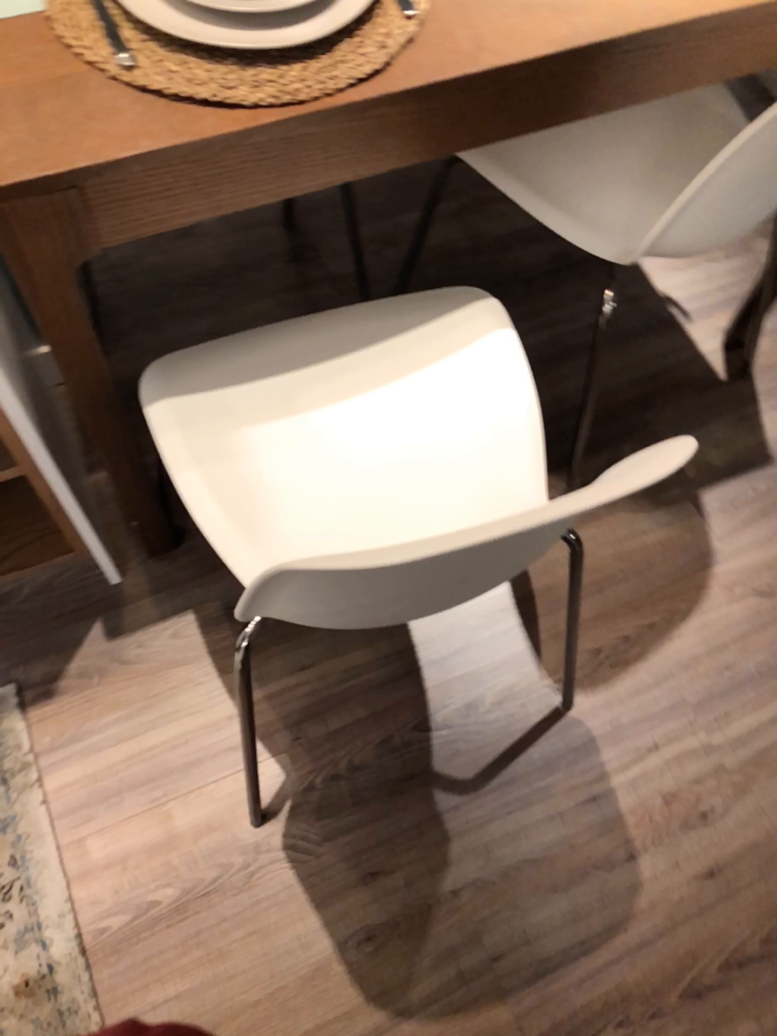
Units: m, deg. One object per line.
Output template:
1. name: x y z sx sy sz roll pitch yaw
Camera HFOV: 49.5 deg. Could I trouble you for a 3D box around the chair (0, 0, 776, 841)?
1. chair: -0.016 -0.042 0.949 0.540 0.707 0.532 -17 65 -12
